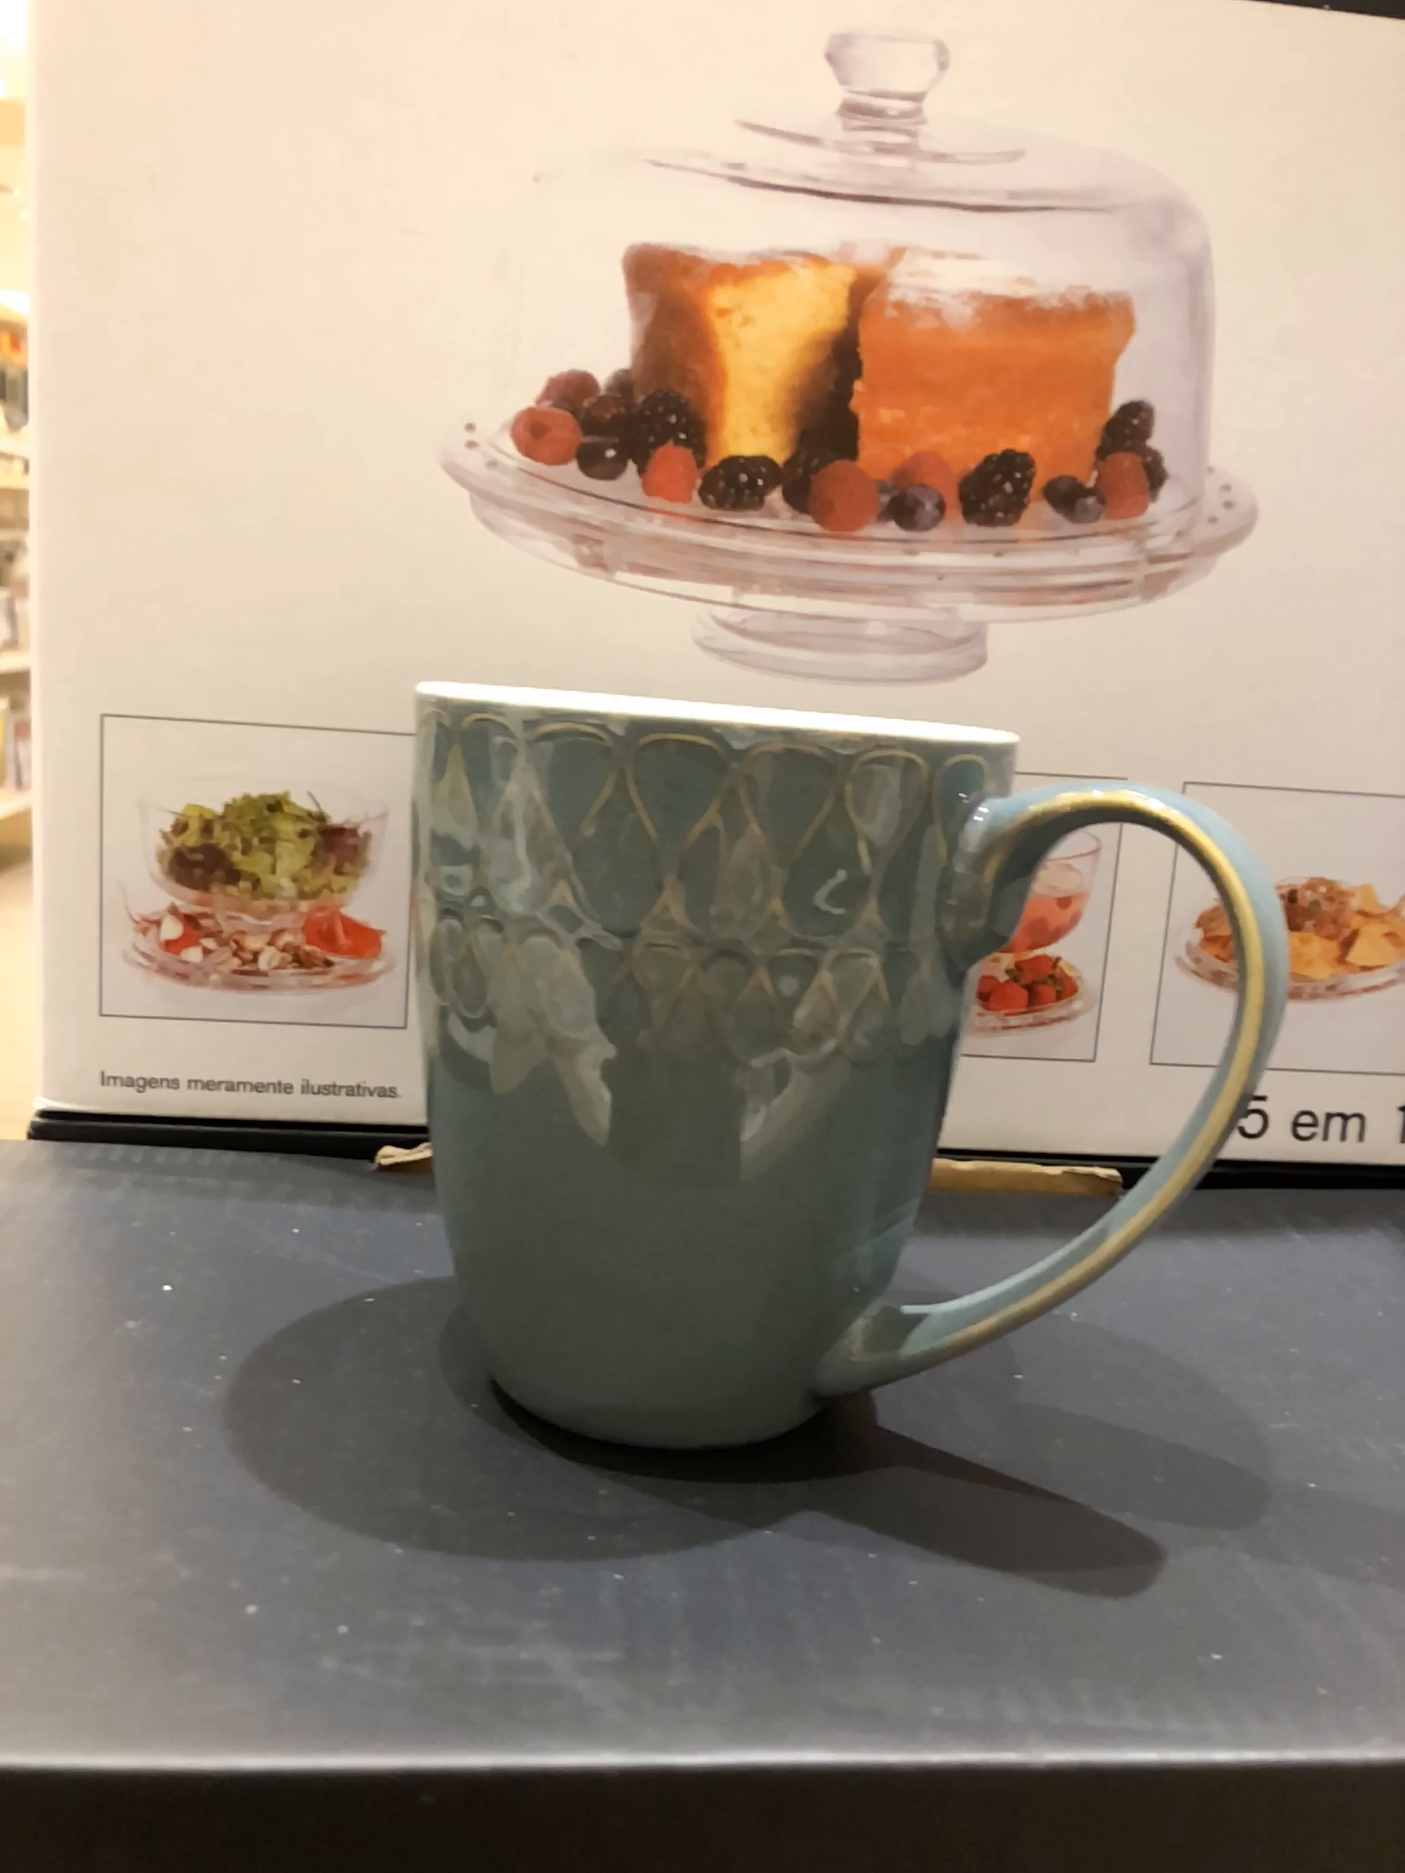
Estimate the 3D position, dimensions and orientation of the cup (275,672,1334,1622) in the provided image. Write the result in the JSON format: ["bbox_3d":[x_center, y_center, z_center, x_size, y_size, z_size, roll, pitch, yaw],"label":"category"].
[{"bbox_3d":[0.018,0.016,0.239,0.130,0.100,0.090,8,12,18],"label":"cup"}]
